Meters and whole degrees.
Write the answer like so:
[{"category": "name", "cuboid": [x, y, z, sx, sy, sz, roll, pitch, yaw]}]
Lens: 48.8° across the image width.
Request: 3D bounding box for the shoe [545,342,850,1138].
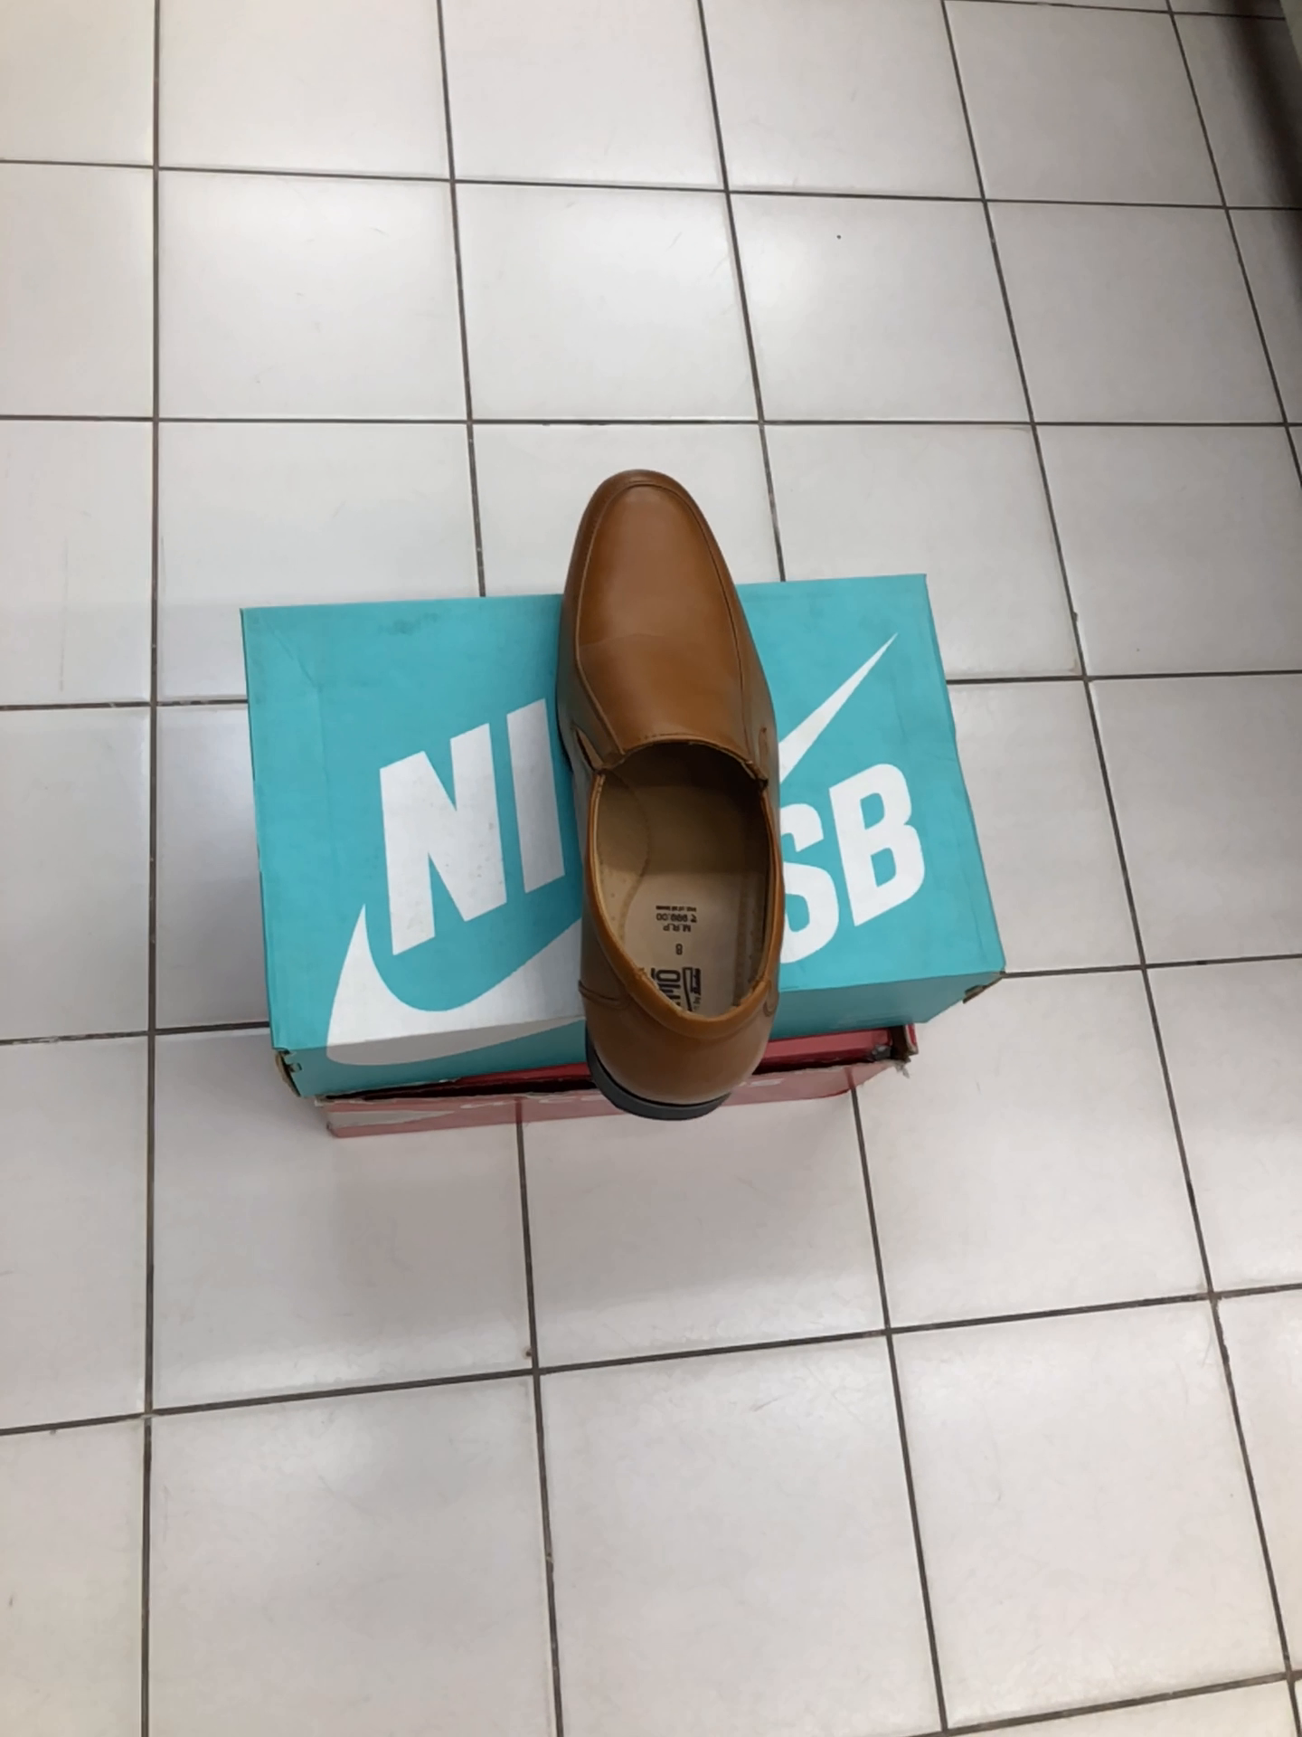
[{"category": "shoe", "cuboid": [0.010, -0.054, 0.593, 0.090, 0.100, 0.311, 0, 71, -9]}]
